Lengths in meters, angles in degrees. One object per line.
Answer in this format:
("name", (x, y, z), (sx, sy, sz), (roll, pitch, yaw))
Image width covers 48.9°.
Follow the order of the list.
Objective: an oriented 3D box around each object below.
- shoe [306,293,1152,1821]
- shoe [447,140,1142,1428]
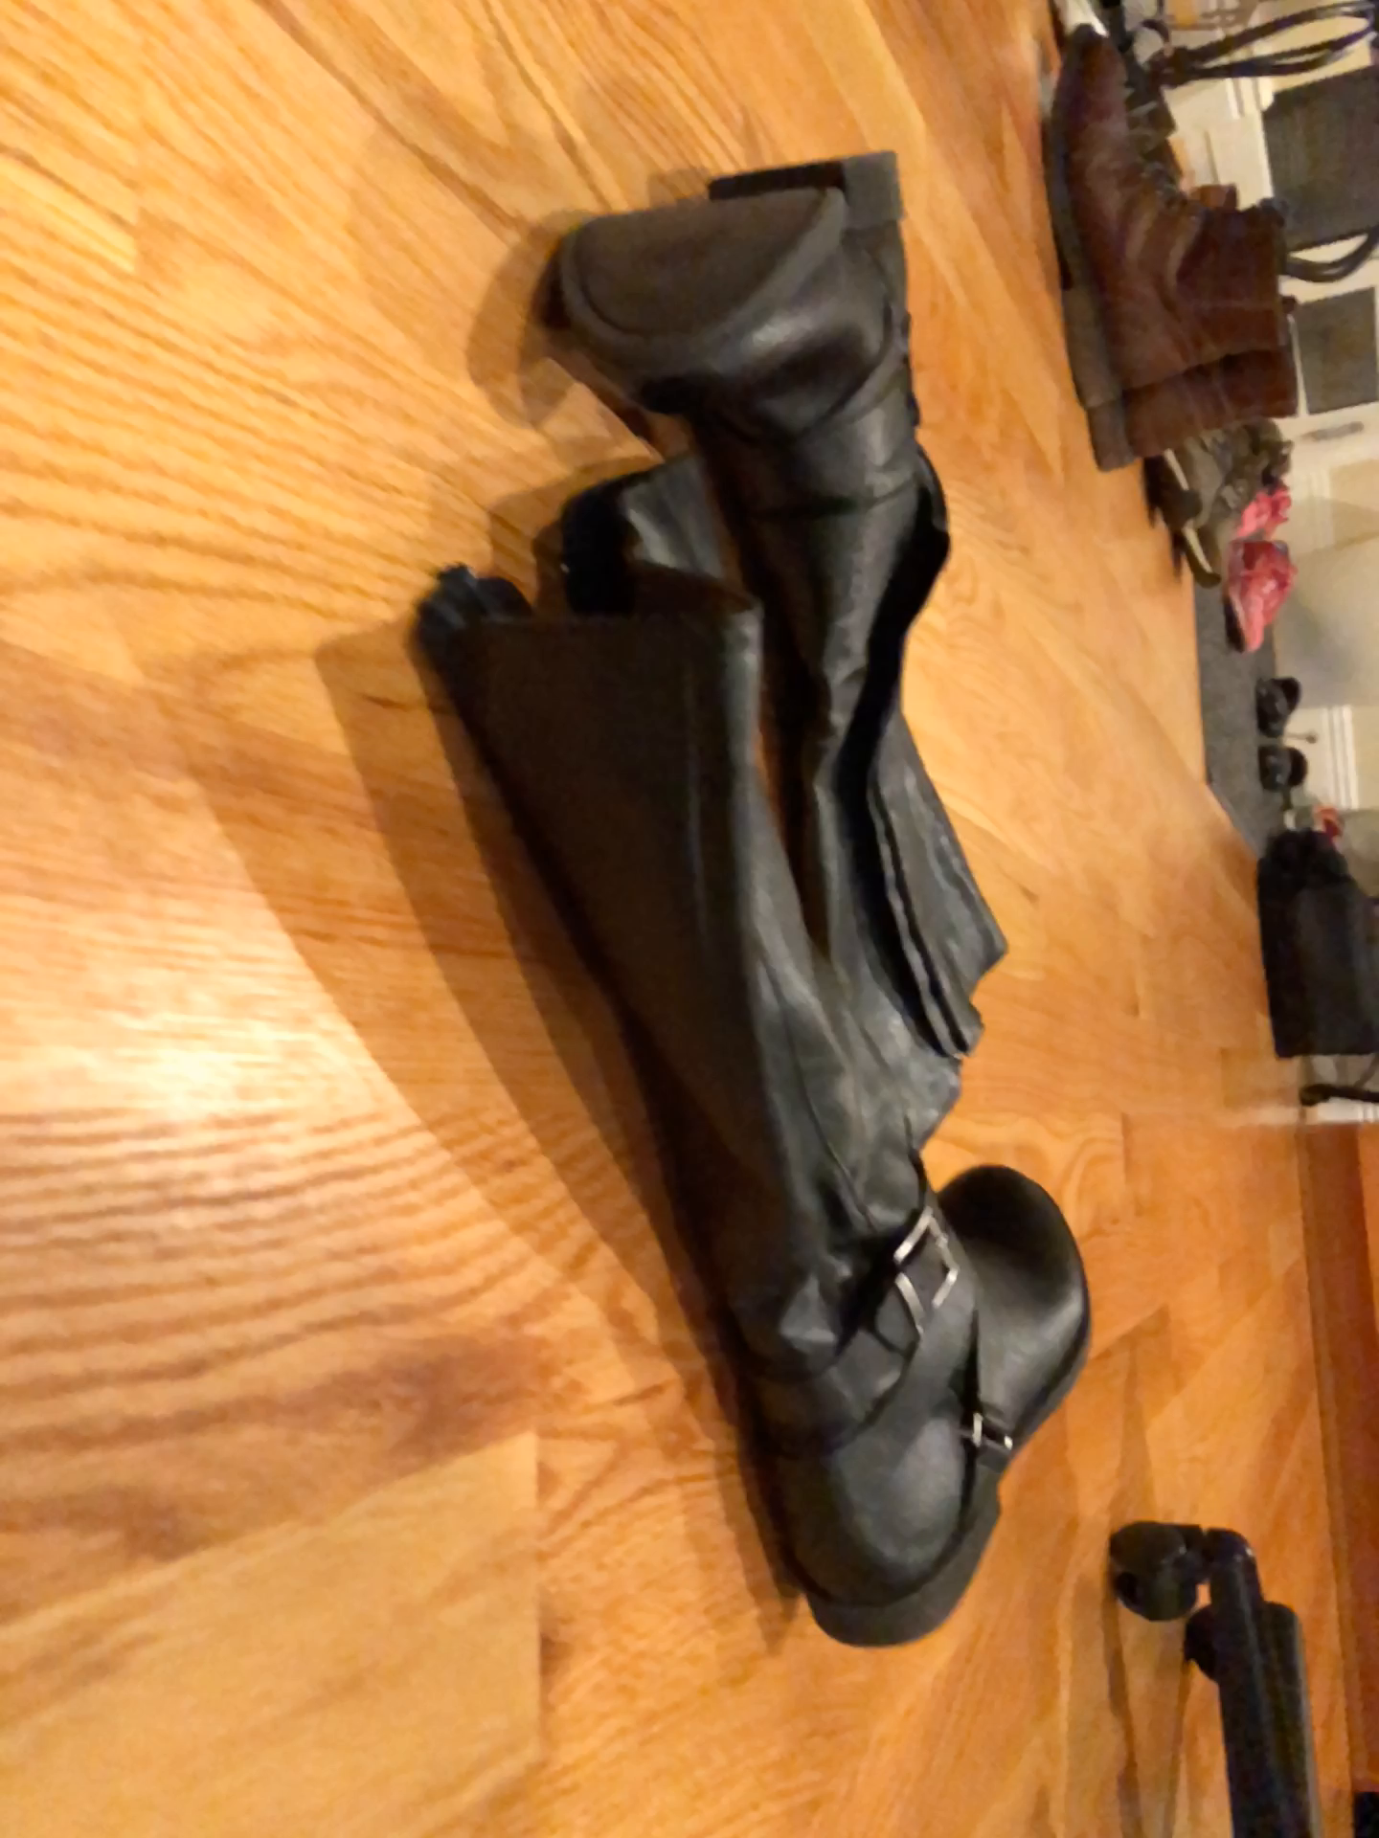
("shoe", (0.062, 0.026, 0.514), (0.292, 0.104, 0.403), (-52, 132, -56))
("shoe", (0.074, -0.058, 0.556), (0.251, 0.094, 0.393), (-50, 129, -57))
